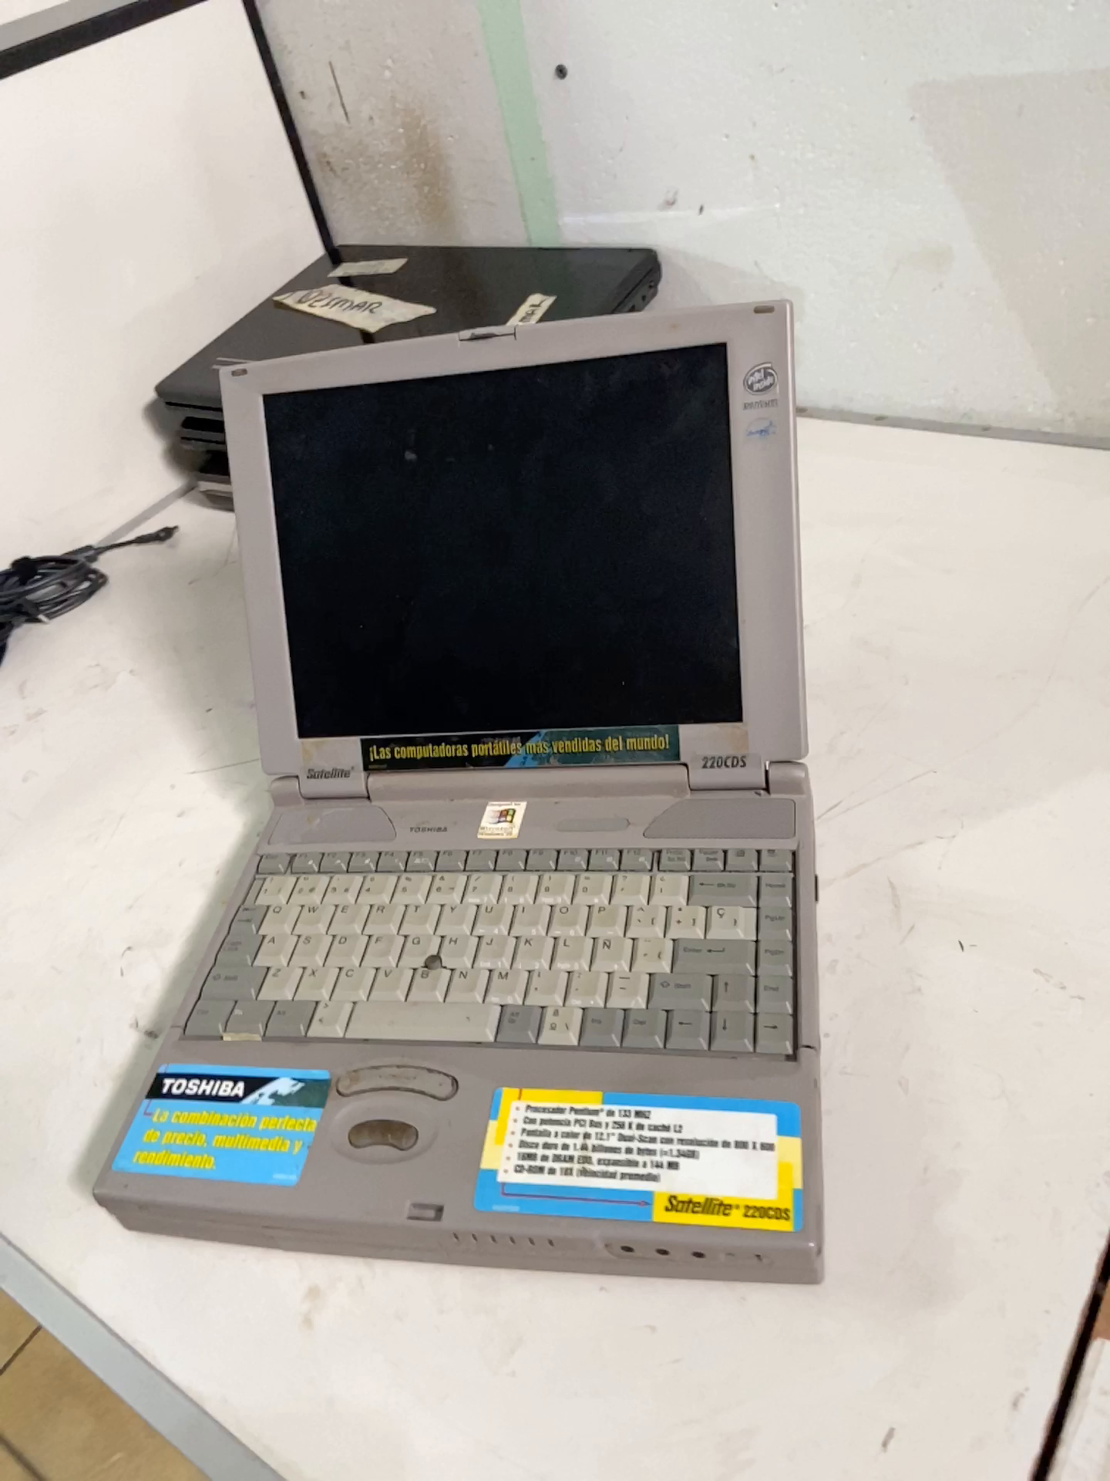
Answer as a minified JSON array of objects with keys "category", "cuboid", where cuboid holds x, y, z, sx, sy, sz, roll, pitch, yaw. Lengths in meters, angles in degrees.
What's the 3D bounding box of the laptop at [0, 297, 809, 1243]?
[{"category":"laptop","cuboid":[-0.045,-0.009,0.515,0.301,0.195,0.359,-2,43,15]}]
